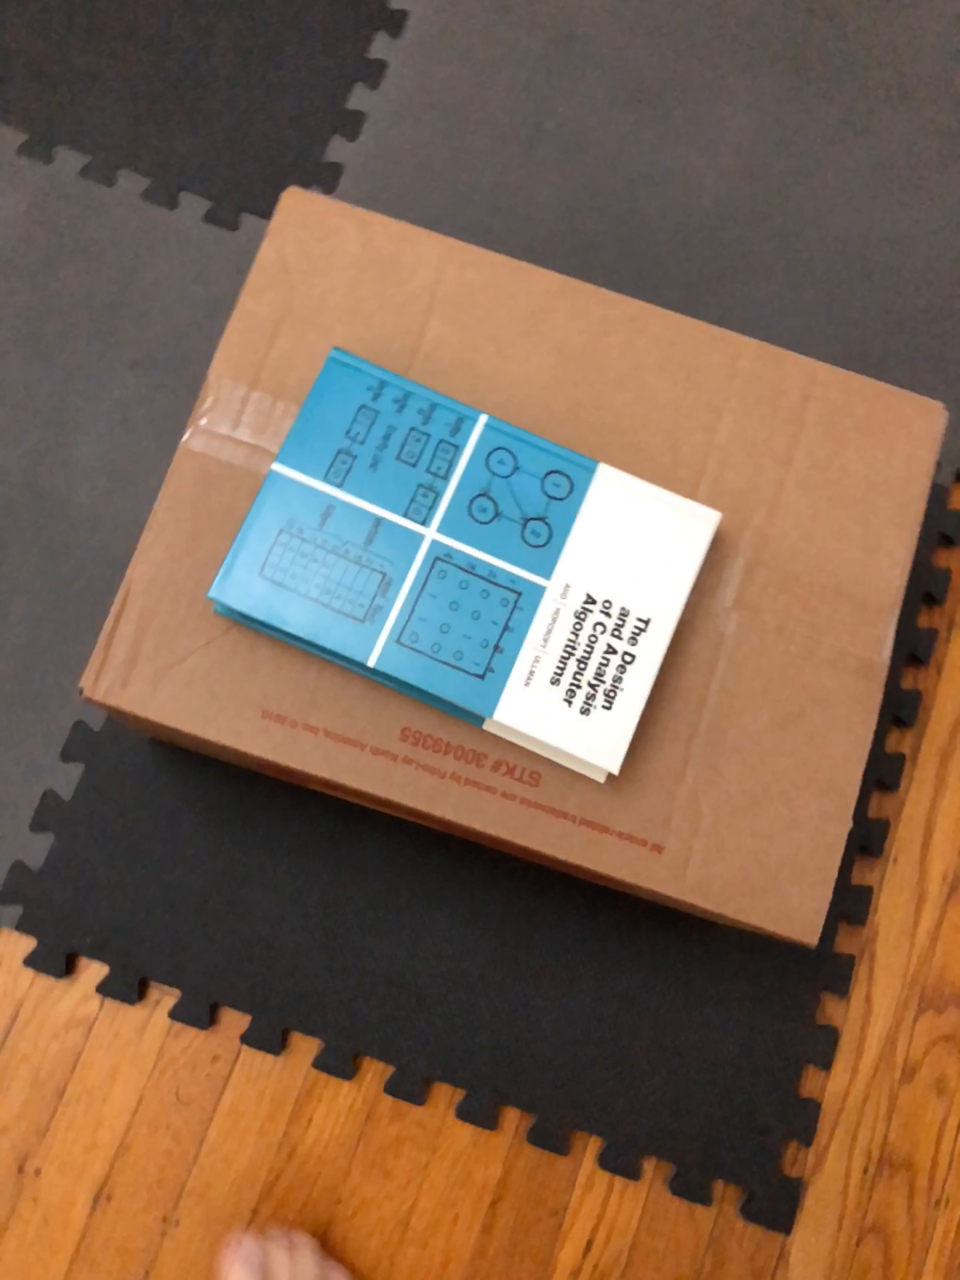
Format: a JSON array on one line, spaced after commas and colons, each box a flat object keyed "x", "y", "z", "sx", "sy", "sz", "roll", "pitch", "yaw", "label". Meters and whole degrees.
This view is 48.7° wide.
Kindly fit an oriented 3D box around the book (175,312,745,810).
[{"x": -0.007, "y": -0.046, "z": 0.604, "sx": 0.260, "sy": 0.040, "sz": 0.190, "roll": 24, "pitch": 77, "yaw": 1, "label": "book"}]
